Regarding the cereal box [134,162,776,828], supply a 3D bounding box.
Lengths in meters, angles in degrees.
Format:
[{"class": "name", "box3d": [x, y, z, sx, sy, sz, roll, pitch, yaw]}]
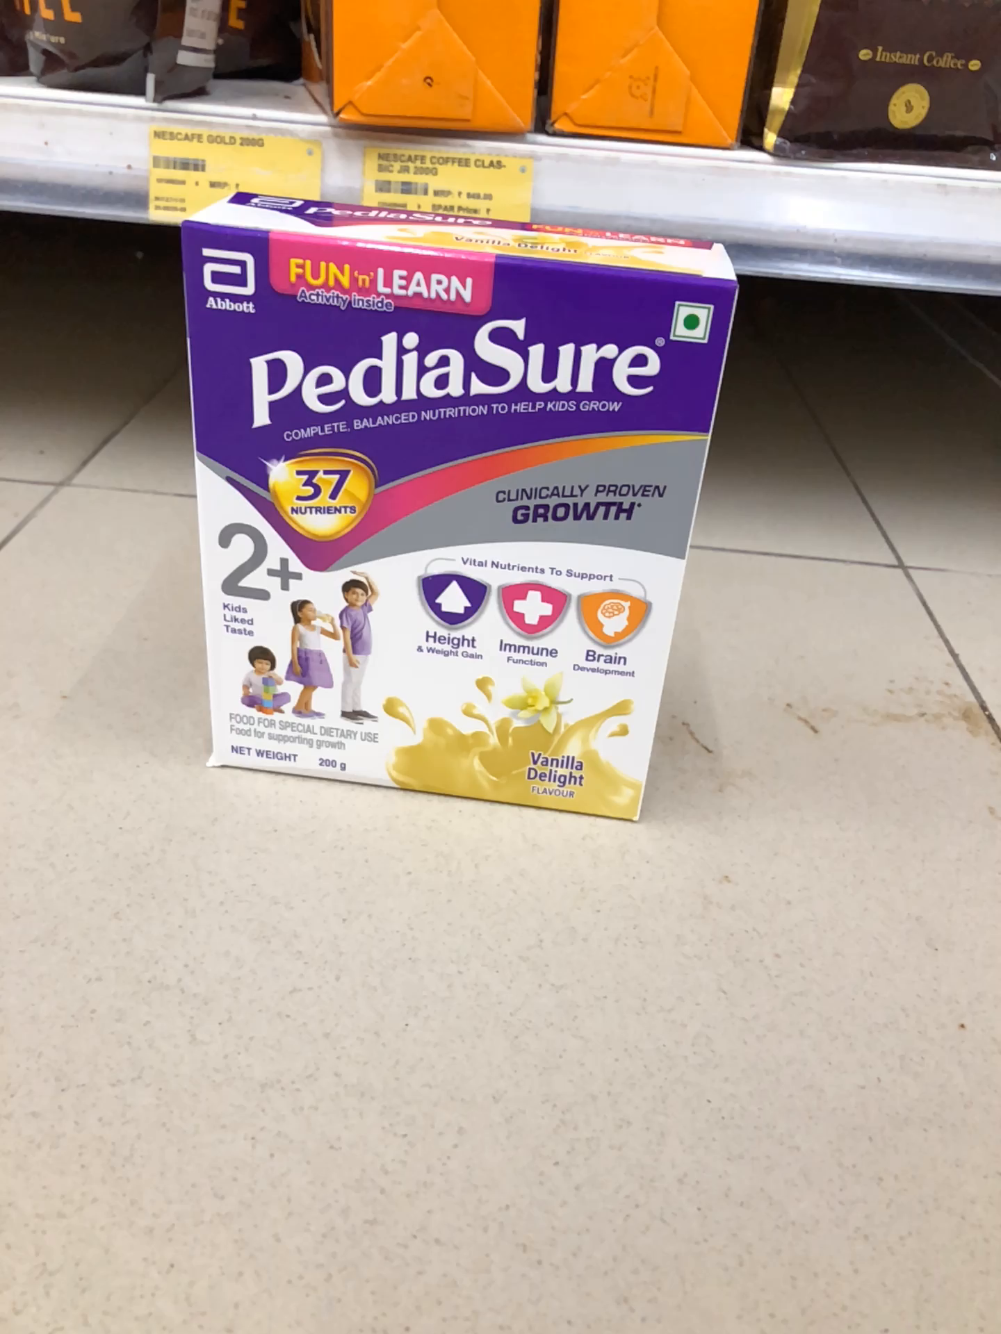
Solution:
[{"class": "cereal box", "box3d": [-0.013, -0.042, 0.302, 0.140, 0.159, 0.050, 6, 31, 3]}]
